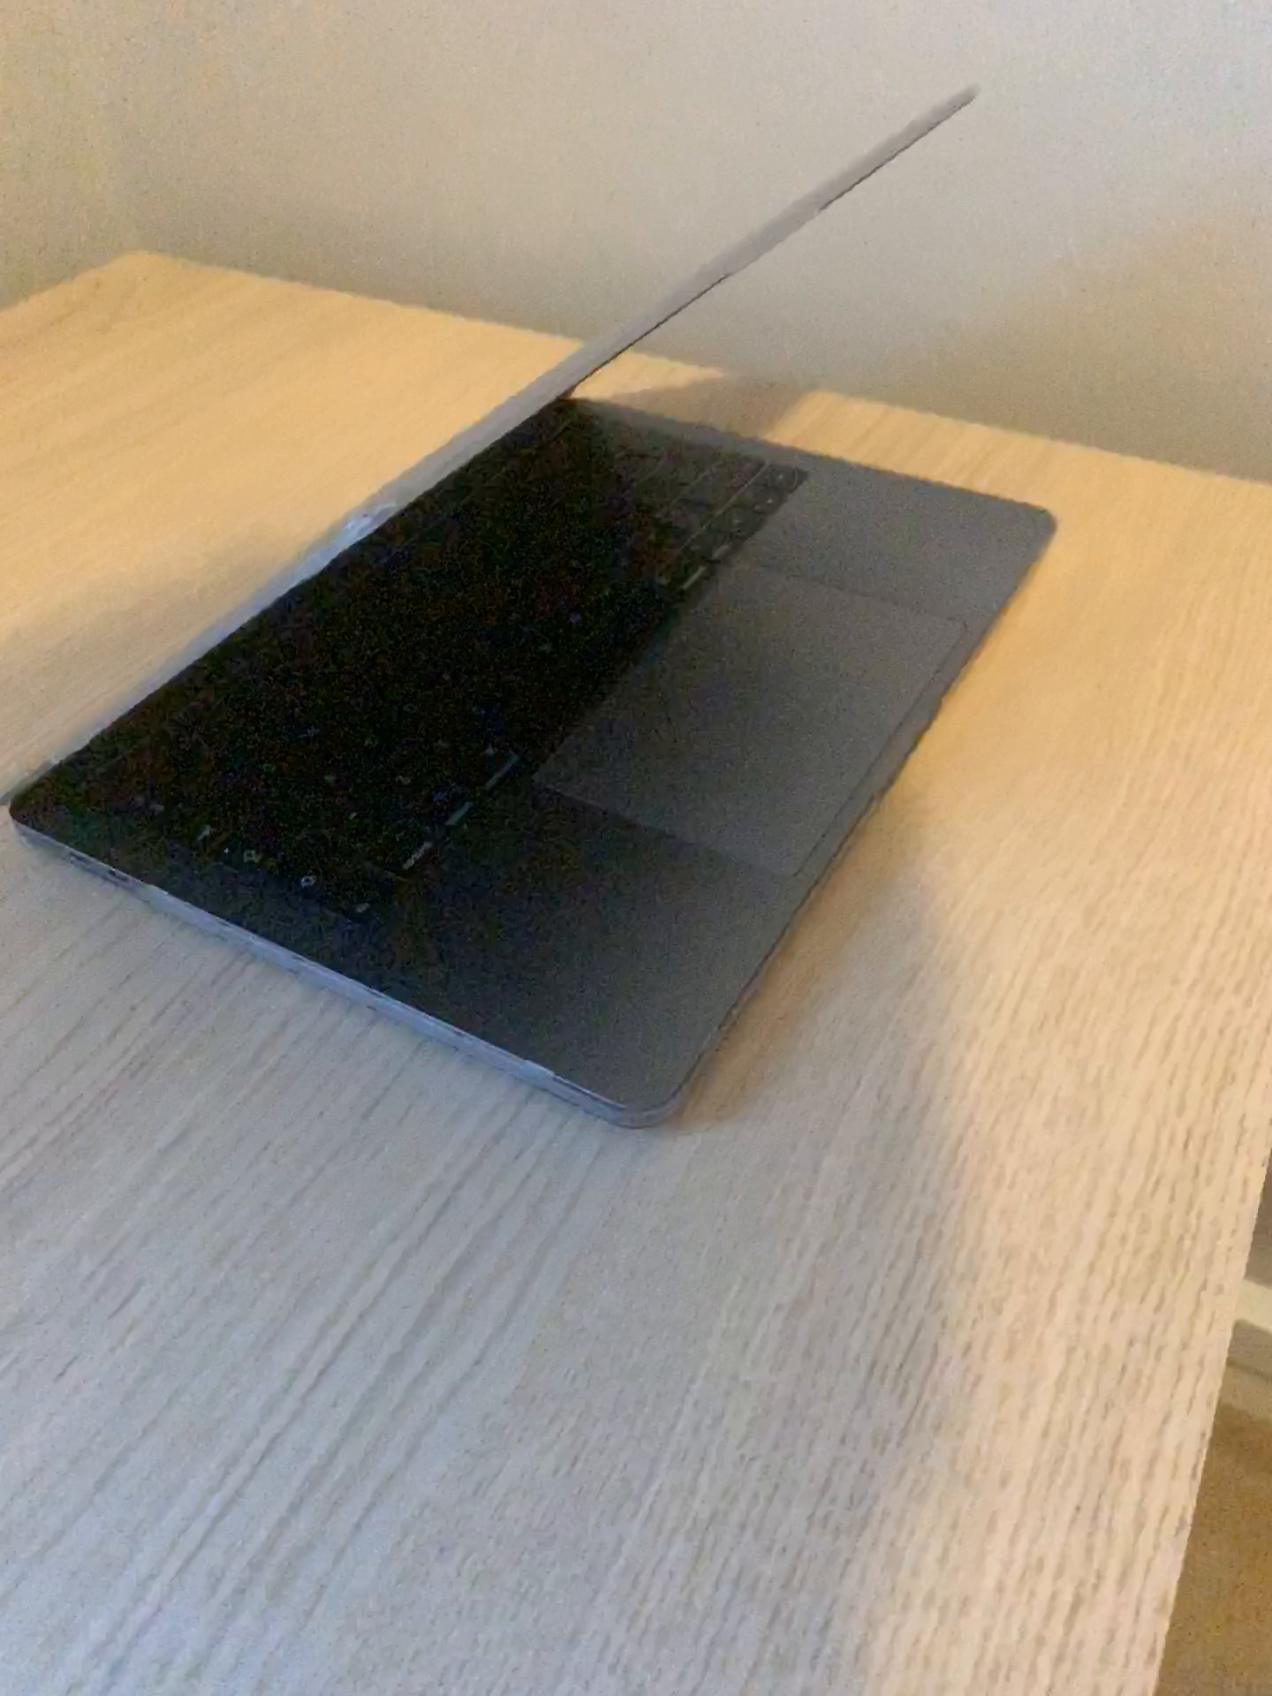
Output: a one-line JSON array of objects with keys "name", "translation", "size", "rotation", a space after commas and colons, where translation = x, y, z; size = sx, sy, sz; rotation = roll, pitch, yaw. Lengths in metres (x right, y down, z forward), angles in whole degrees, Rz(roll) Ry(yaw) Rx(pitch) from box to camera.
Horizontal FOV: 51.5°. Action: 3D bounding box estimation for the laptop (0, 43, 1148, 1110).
[{"name": "laptop", "translation": [-0.012, -0.112, 0.368], "size": [0.204, 0.130, 0.291], "rotation": [20, 47, 23]}]
